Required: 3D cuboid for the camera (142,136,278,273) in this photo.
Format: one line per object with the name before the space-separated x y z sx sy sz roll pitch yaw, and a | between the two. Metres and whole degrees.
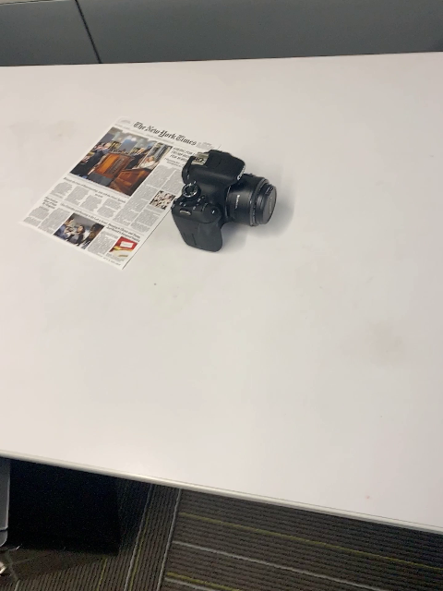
camera | -0.009 -0.137 0.672 0.143 0.100 0.146 15 64 18
